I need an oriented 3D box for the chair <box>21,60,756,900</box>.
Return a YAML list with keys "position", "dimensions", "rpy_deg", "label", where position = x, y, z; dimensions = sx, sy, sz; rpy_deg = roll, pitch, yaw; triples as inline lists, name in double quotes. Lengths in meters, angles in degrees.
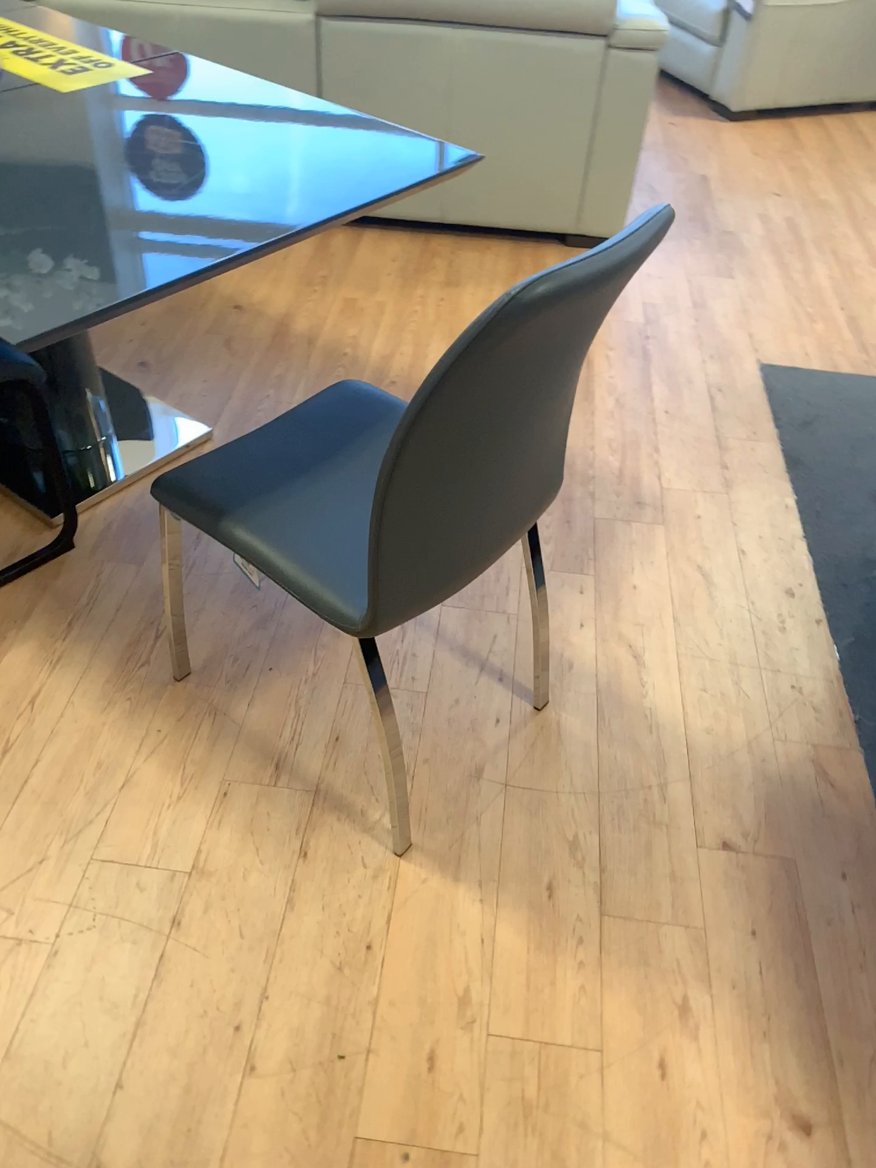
- position: [-0.077, -0.135, 1.276]
  dimensions: [0.642, 0.891, 0.483]
  rpy_deg: [32, 51, 26]
  label: "chair"
